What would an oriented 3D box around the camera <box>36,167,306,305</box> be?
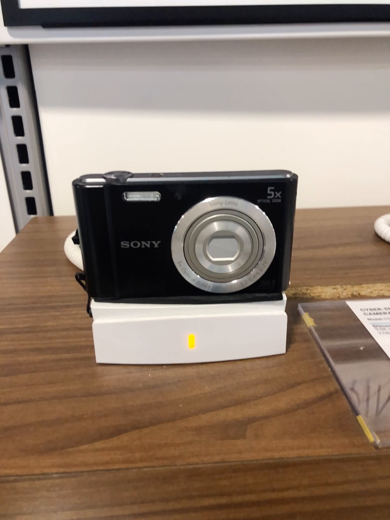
[{"bbox_3d":[-0.009,-0.011,0.183,0.100,0.050,0.030,-1,21,2],"label":"camera"}]
